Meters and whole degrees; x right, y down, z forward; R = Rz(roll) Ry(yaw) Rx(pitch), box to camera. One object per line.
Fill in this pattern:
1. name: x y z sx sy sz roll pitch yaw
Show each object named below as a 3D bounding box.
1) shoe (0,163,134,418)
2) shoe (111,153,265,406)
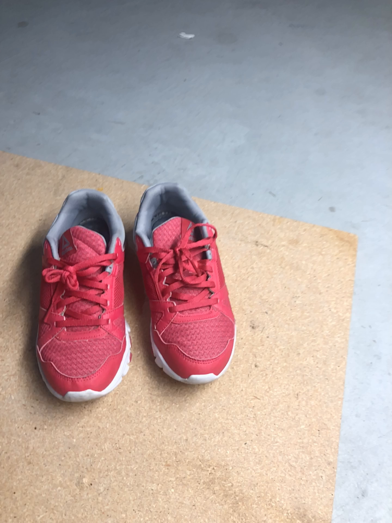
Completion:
1. shoe: -0.126 0.018 0.482 0.100 0.100 0.271 -1 52 -4
2. shoe: -0.023 0.006 0.500 0.110 0.100 0.271 -8 53 -10
